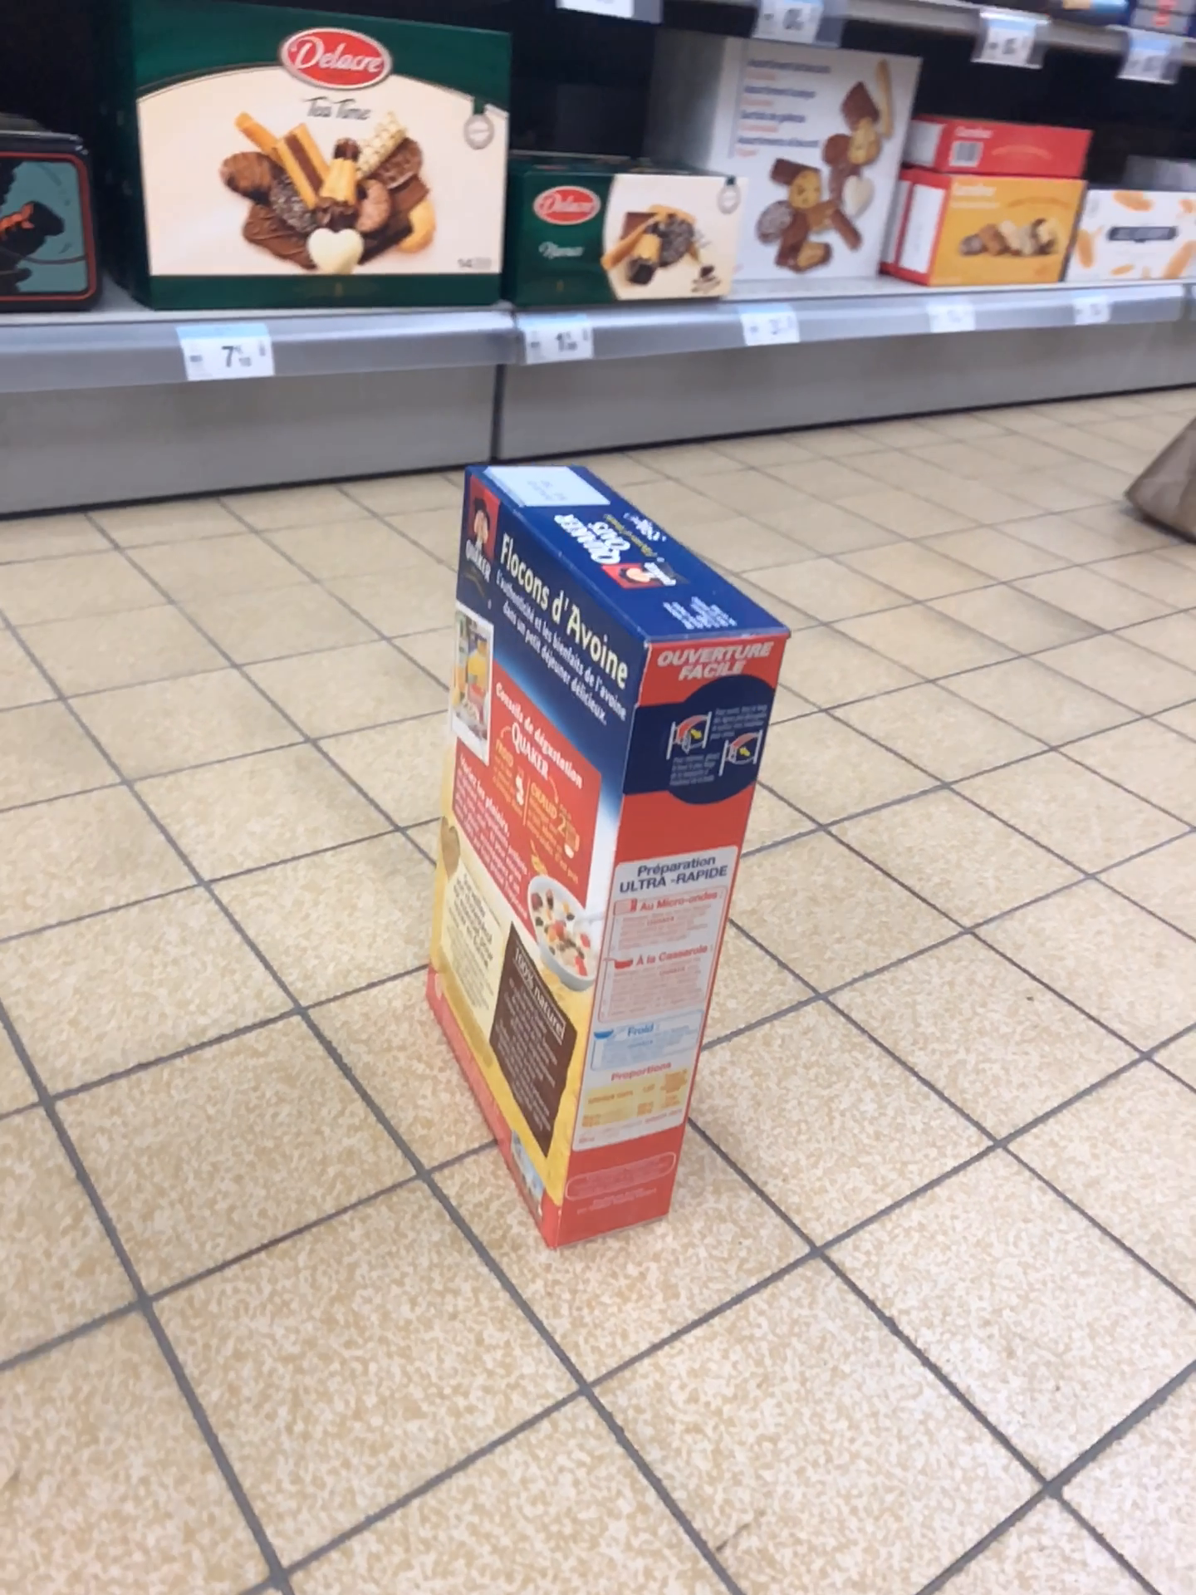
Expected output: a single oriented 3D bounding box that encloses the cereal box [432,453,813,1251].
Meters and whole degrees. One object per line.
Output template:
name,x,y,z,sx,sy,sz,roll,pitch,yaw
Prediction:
cereal box,-0.006,0.017,0.451,0.050,0.229,0.140,-7,33,-24
